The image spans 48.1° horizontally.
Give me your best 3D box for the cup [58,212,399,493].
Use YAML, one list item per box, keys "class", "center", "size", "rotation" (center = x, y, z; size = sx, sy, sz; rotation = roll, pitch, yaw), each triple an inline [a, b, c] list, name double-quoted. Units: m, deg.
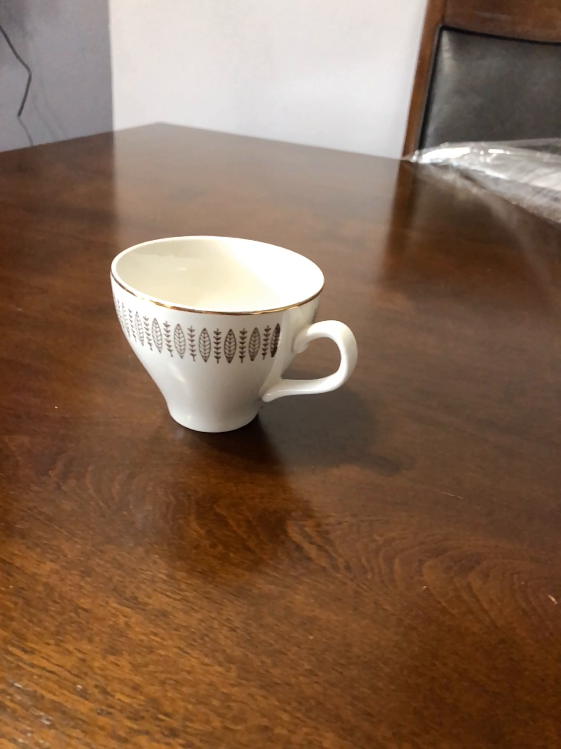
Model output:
- class: "cup"
  center: [-0.017, -0.018, 0.256]
  size: [0.100, 0.060, 0.090]
  rotation: [17, 31, 19]
